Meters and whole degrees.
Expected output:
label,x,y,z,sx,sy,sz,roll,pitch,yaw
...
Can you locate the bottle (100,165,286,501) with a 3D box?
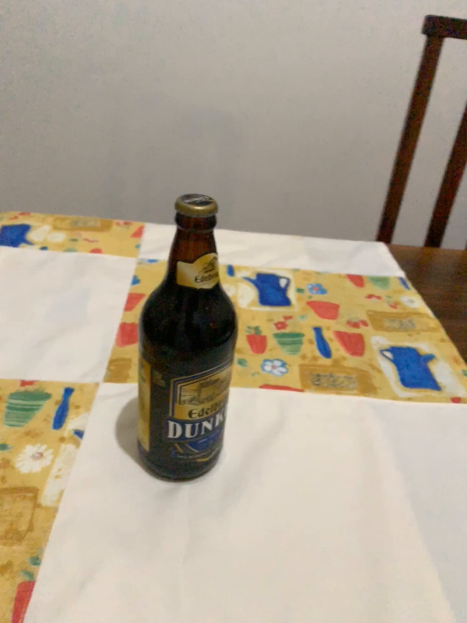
label,x,y,z,sx,sy,sz,roll,pitch,yaw
bottle,-0.035,0.019,0.351,0.080,0.219,0.080,5,32,-3
